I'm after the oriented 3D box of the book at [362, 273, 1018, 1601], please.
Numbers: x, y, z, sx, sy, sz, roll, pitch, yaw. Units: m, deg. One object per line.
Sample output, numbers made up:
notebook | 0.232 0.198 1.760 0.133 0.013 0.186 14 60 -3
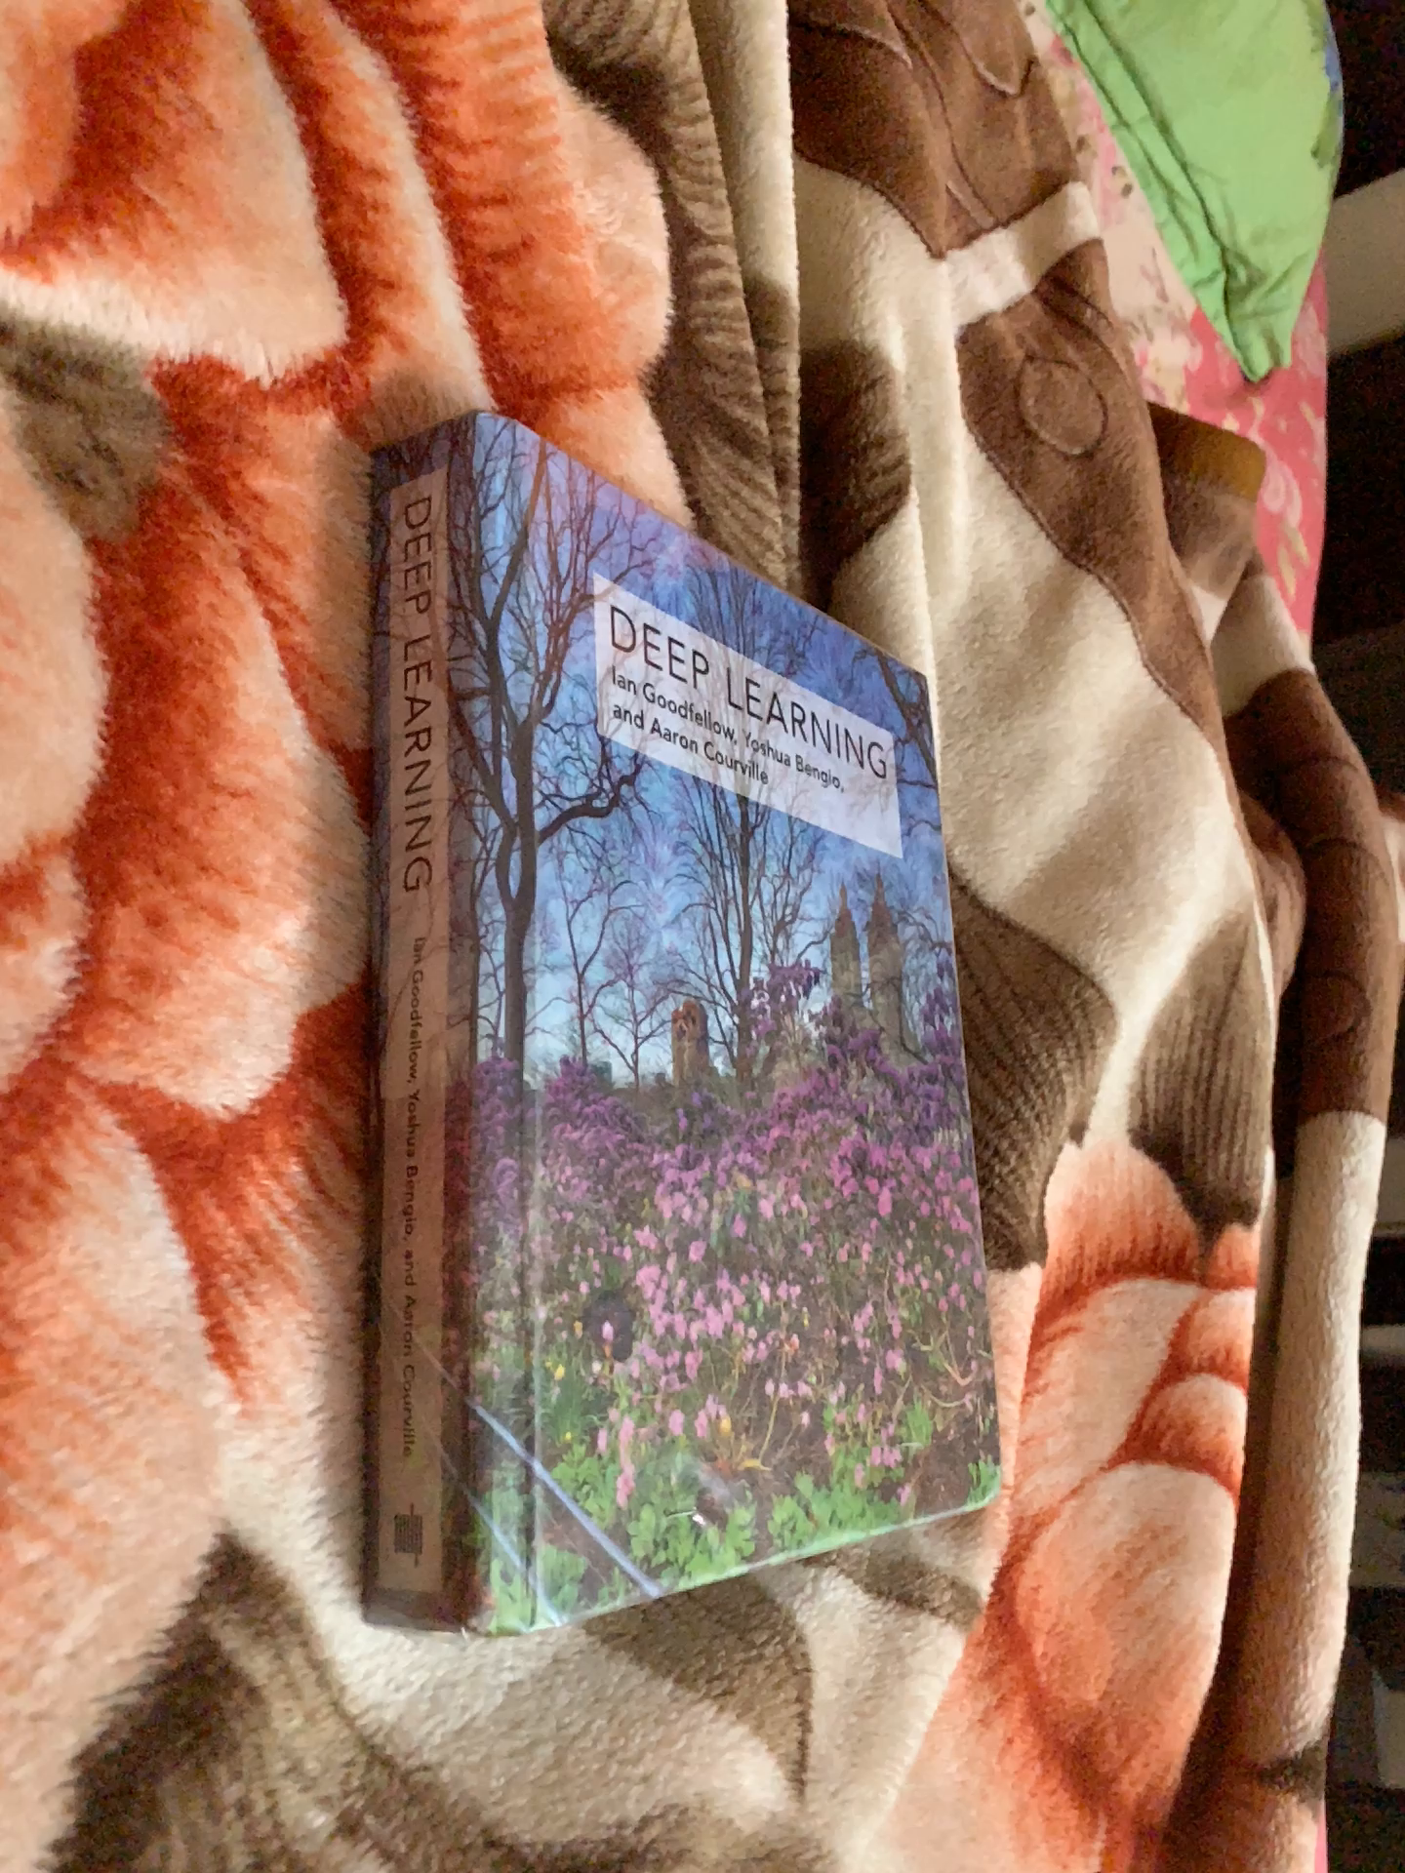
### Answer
book | 0.009 0.006 0.366 0.211 0.030 0.260 17 65 -52
